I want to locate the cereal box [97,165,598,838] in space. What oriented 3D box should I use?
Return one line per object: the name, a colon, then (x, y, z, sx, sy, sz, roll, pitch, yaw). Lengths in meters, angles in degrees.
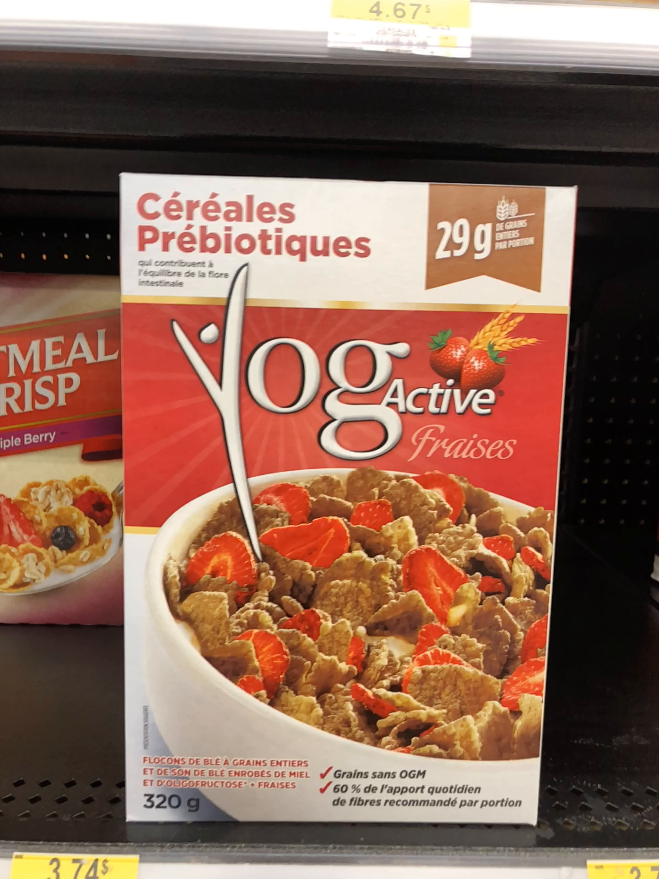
cereal box: (0.003, 0.033, 0.336, 0.200, 0.289, 0.050, 1, 8, -2)
